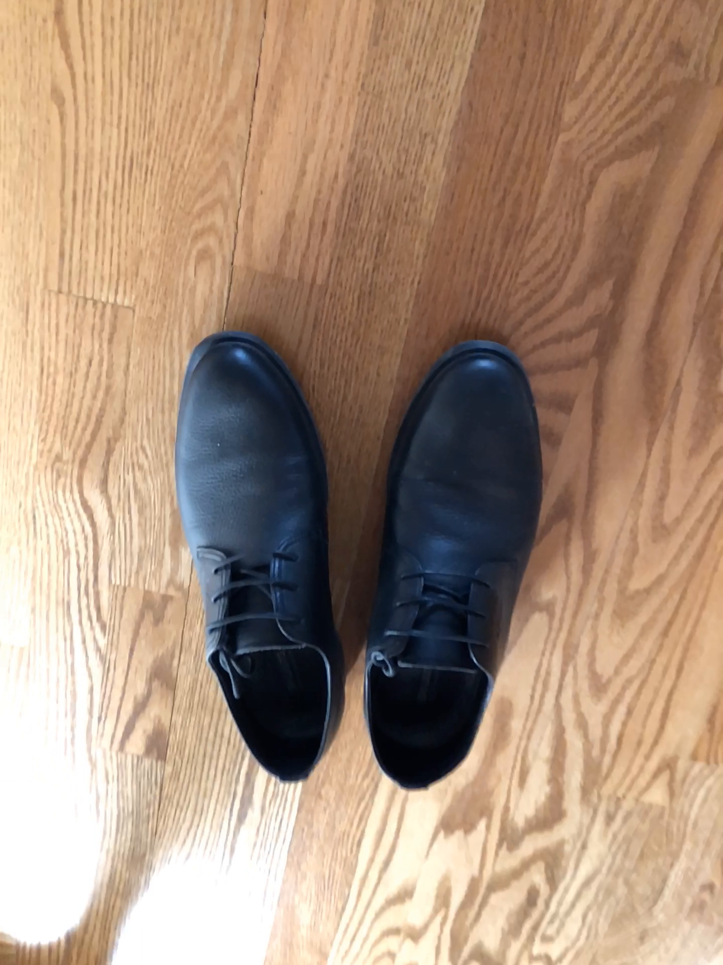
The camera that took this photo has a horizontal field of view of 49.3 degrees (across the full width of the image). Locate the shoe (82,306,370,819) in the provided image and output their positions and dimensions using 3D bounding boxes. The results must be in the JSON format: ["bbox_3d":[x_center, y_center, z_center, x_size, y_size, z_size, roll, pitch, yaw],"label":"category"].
[{"bbox_3d":[-0.069,0.054,0.516,0.110,0.124,0.304,-5,112,5],"label":"shoe"}]

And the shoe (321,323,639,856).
[{"bbox_3d":[0.059,0.068,0.501,0.110,0.124,0.300,11,112,-1],"label":"shoe"}]
